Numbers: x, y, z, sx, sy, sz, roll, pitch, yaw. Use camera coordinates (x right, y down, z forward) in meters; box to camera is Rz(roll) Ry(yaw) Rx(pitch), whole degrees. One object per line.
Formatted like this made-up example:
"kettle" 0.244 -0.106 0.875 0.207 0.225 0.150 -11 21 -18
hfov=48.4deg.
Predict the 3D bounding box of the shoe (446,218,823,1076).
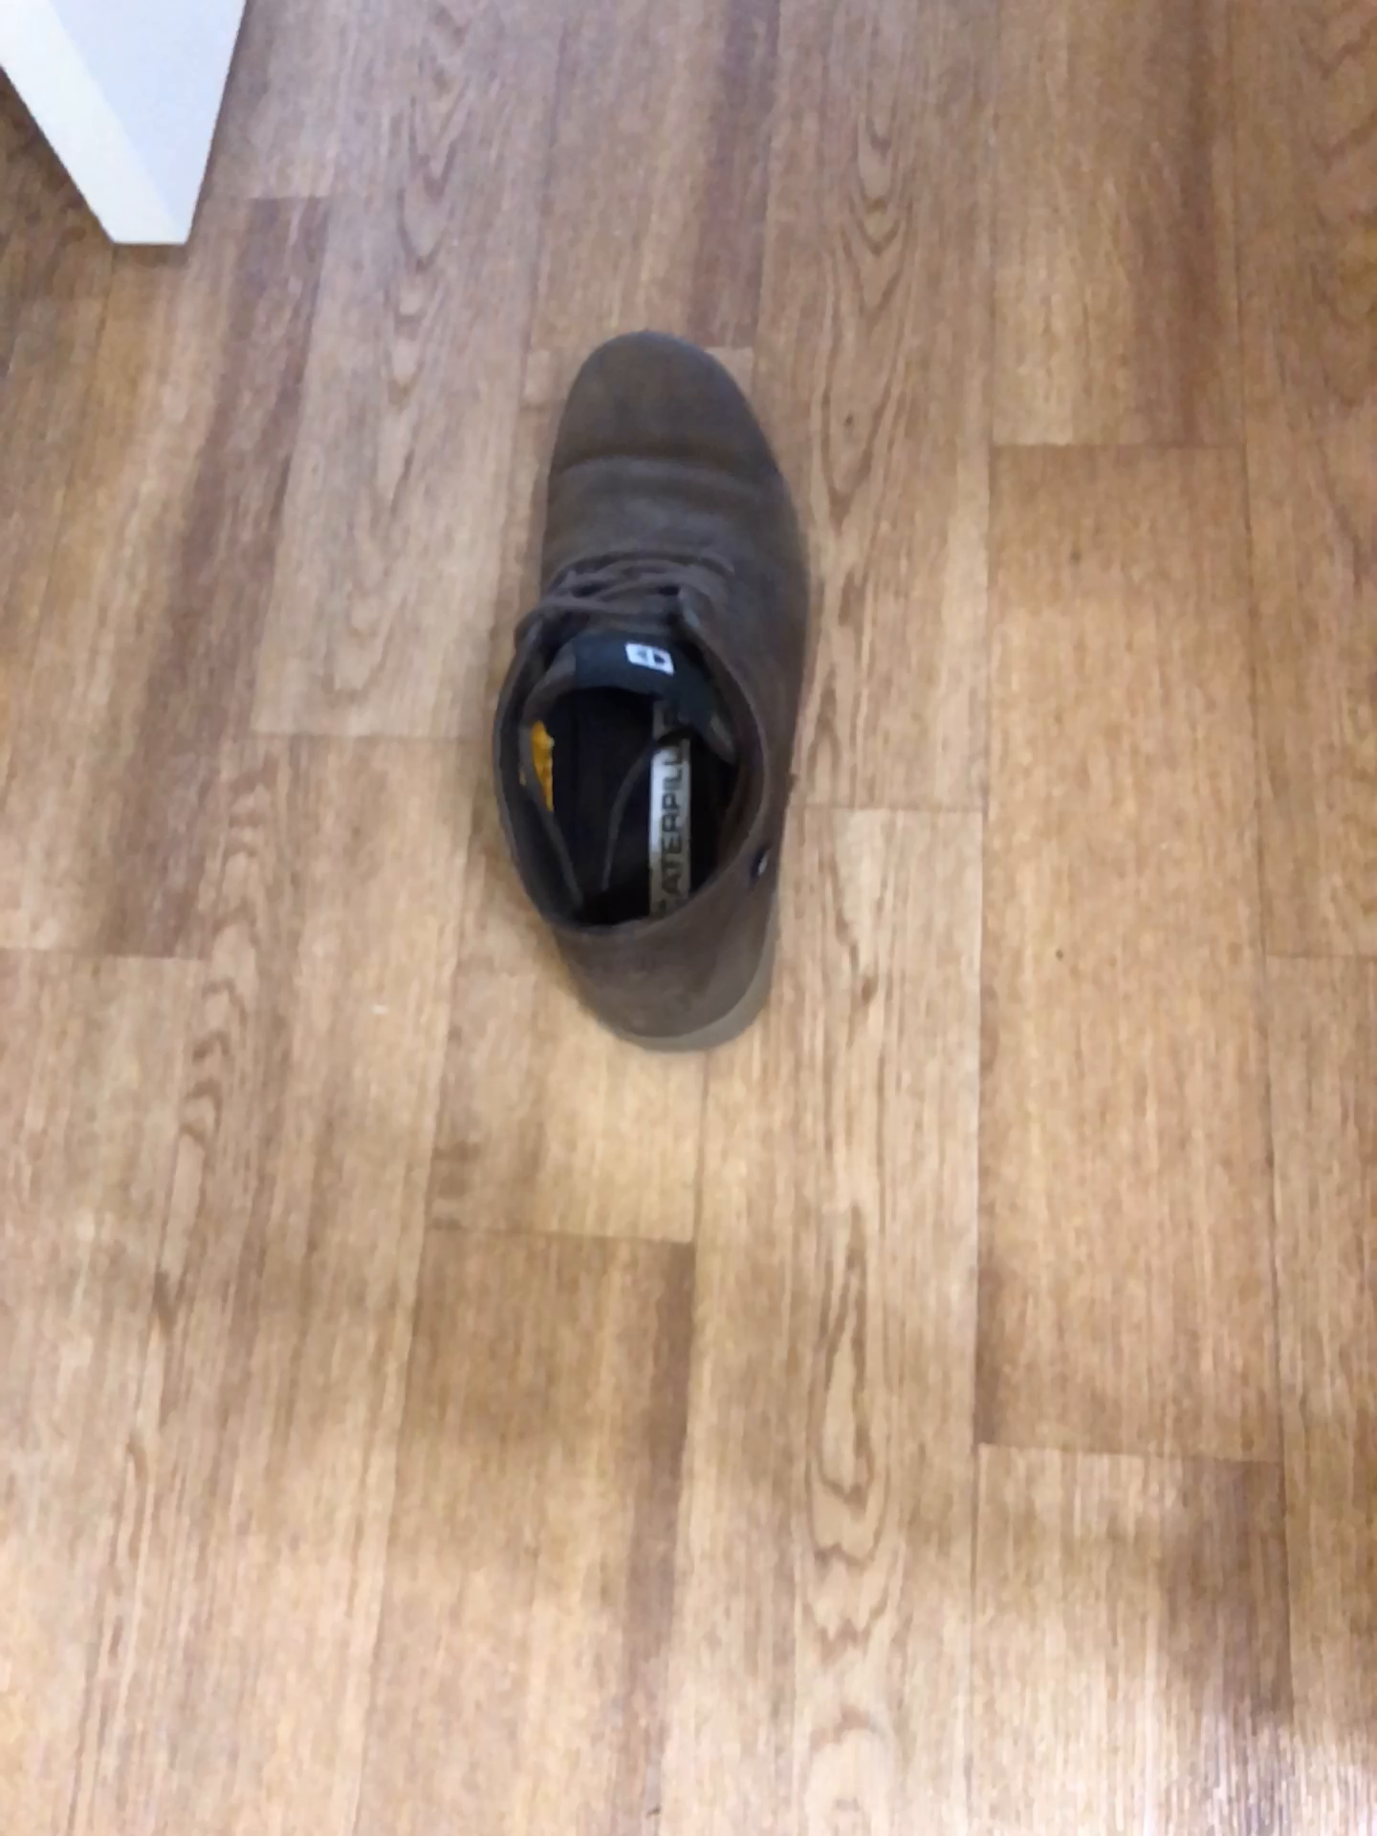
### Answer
"shoe" -0.008 -0.090 0.524 0.100 0.100 0.270 1 73 6
